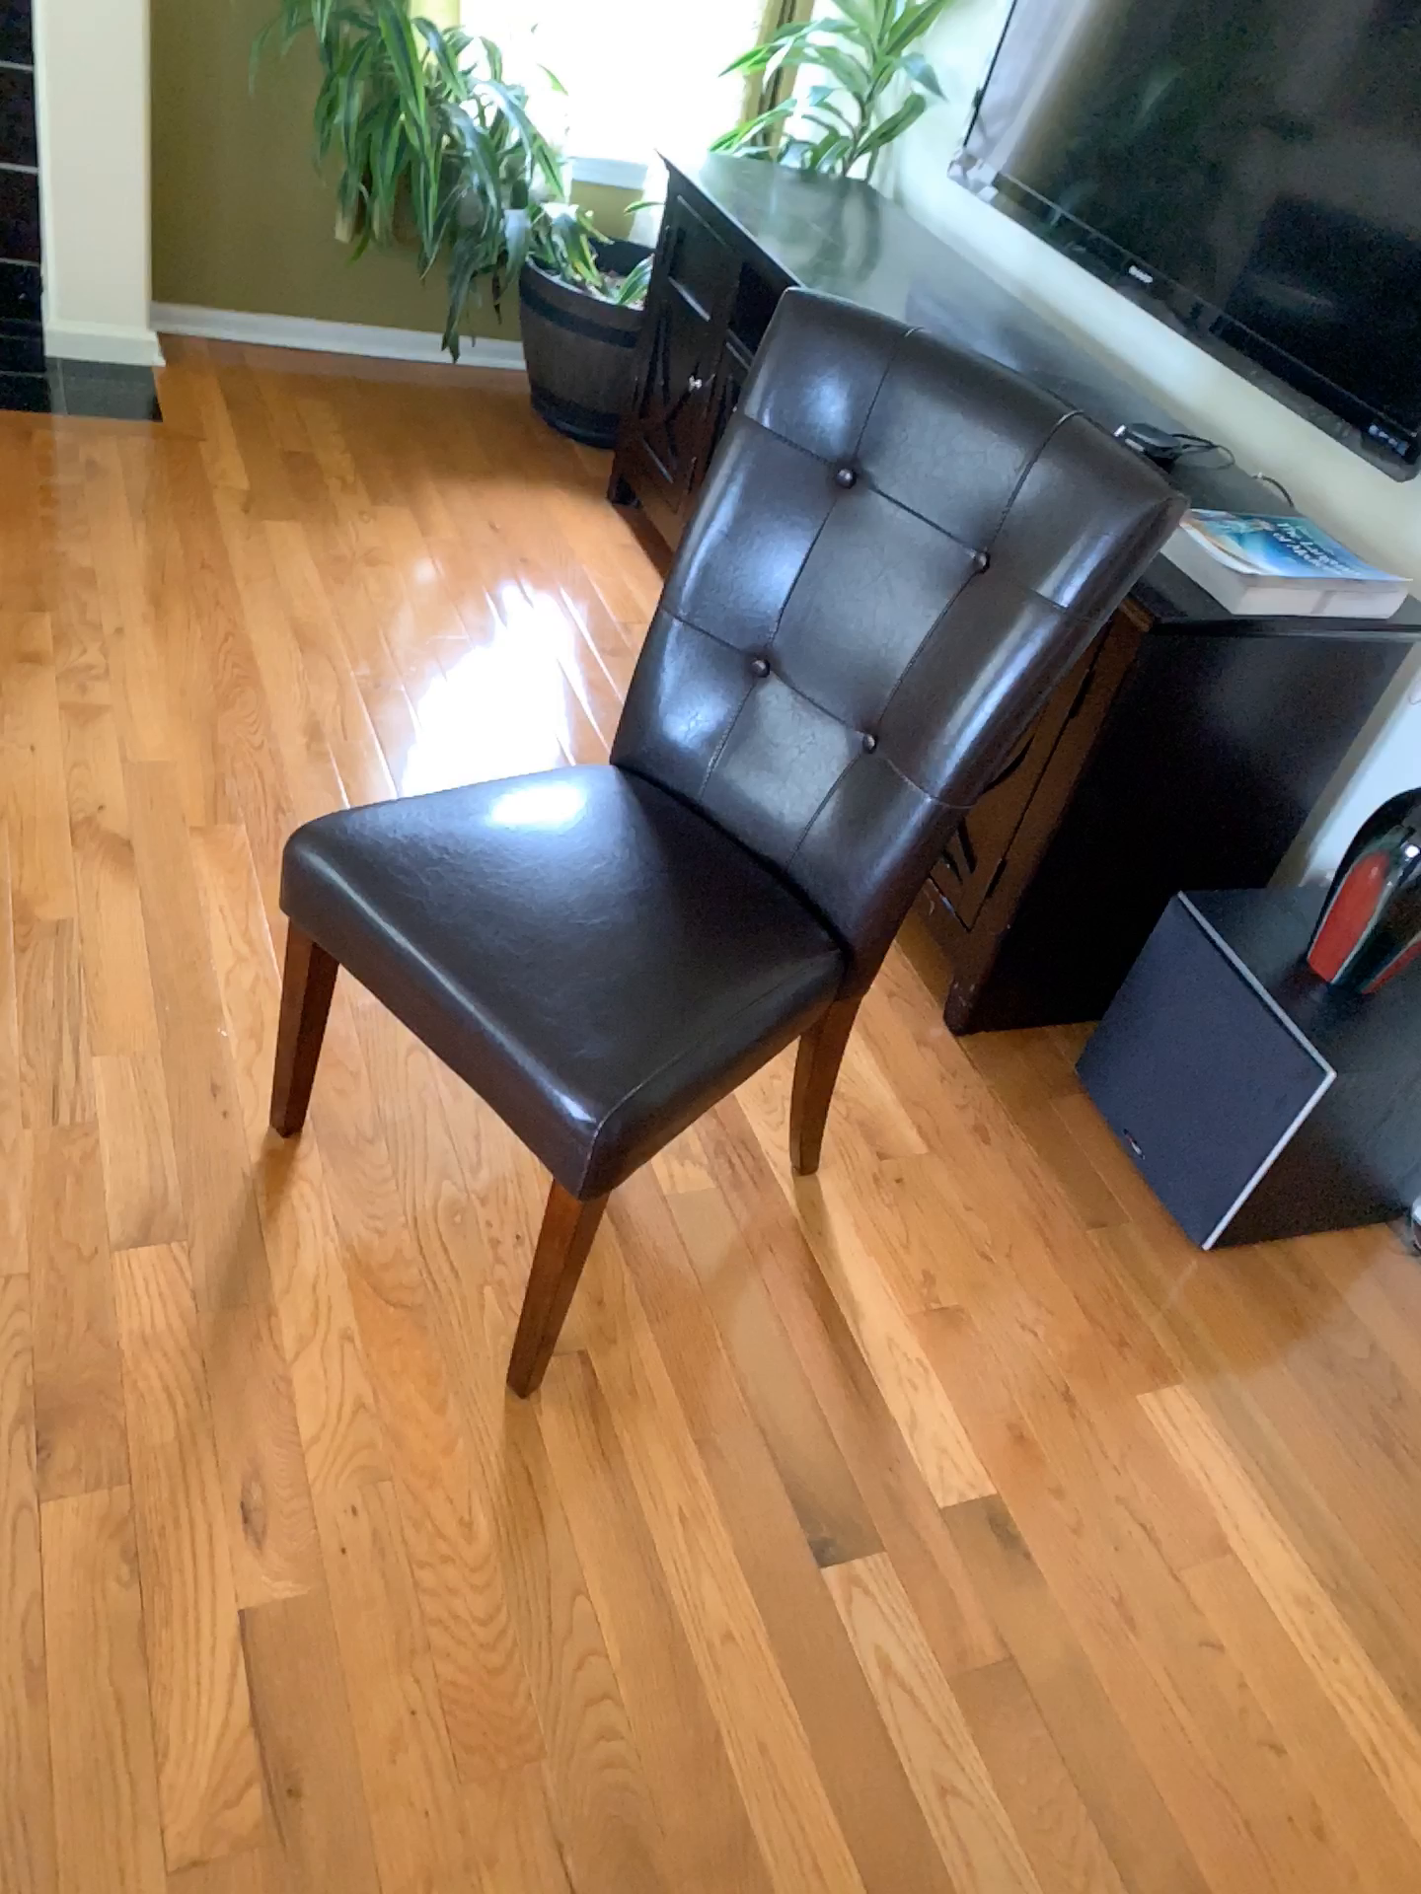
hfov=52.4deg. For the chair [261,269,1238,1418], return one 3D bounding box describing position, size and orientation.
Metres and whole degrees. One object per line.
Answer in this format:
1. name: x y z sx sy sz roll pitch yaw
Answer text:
1. chair: -0.017 -0.127 1.564 0.498 0.968 0.706 39 43 25
